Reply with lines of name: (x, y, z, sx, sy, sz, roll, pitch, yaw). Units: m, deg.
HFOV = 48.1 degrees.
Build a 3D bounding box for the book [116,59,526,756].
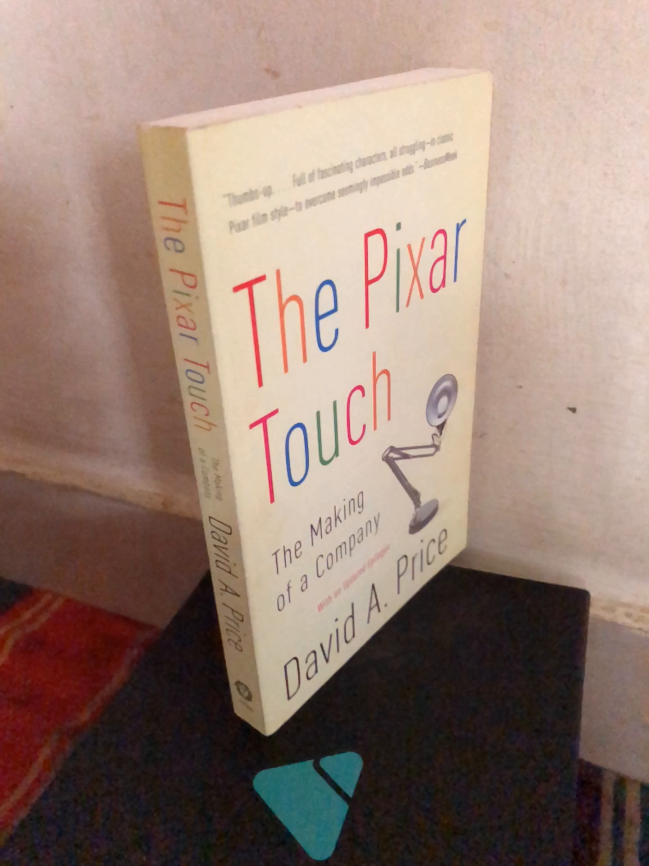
book: (0.013, -0.012, 0.249, 0.030, 0.199, 0.140, 21, 37, 34)
